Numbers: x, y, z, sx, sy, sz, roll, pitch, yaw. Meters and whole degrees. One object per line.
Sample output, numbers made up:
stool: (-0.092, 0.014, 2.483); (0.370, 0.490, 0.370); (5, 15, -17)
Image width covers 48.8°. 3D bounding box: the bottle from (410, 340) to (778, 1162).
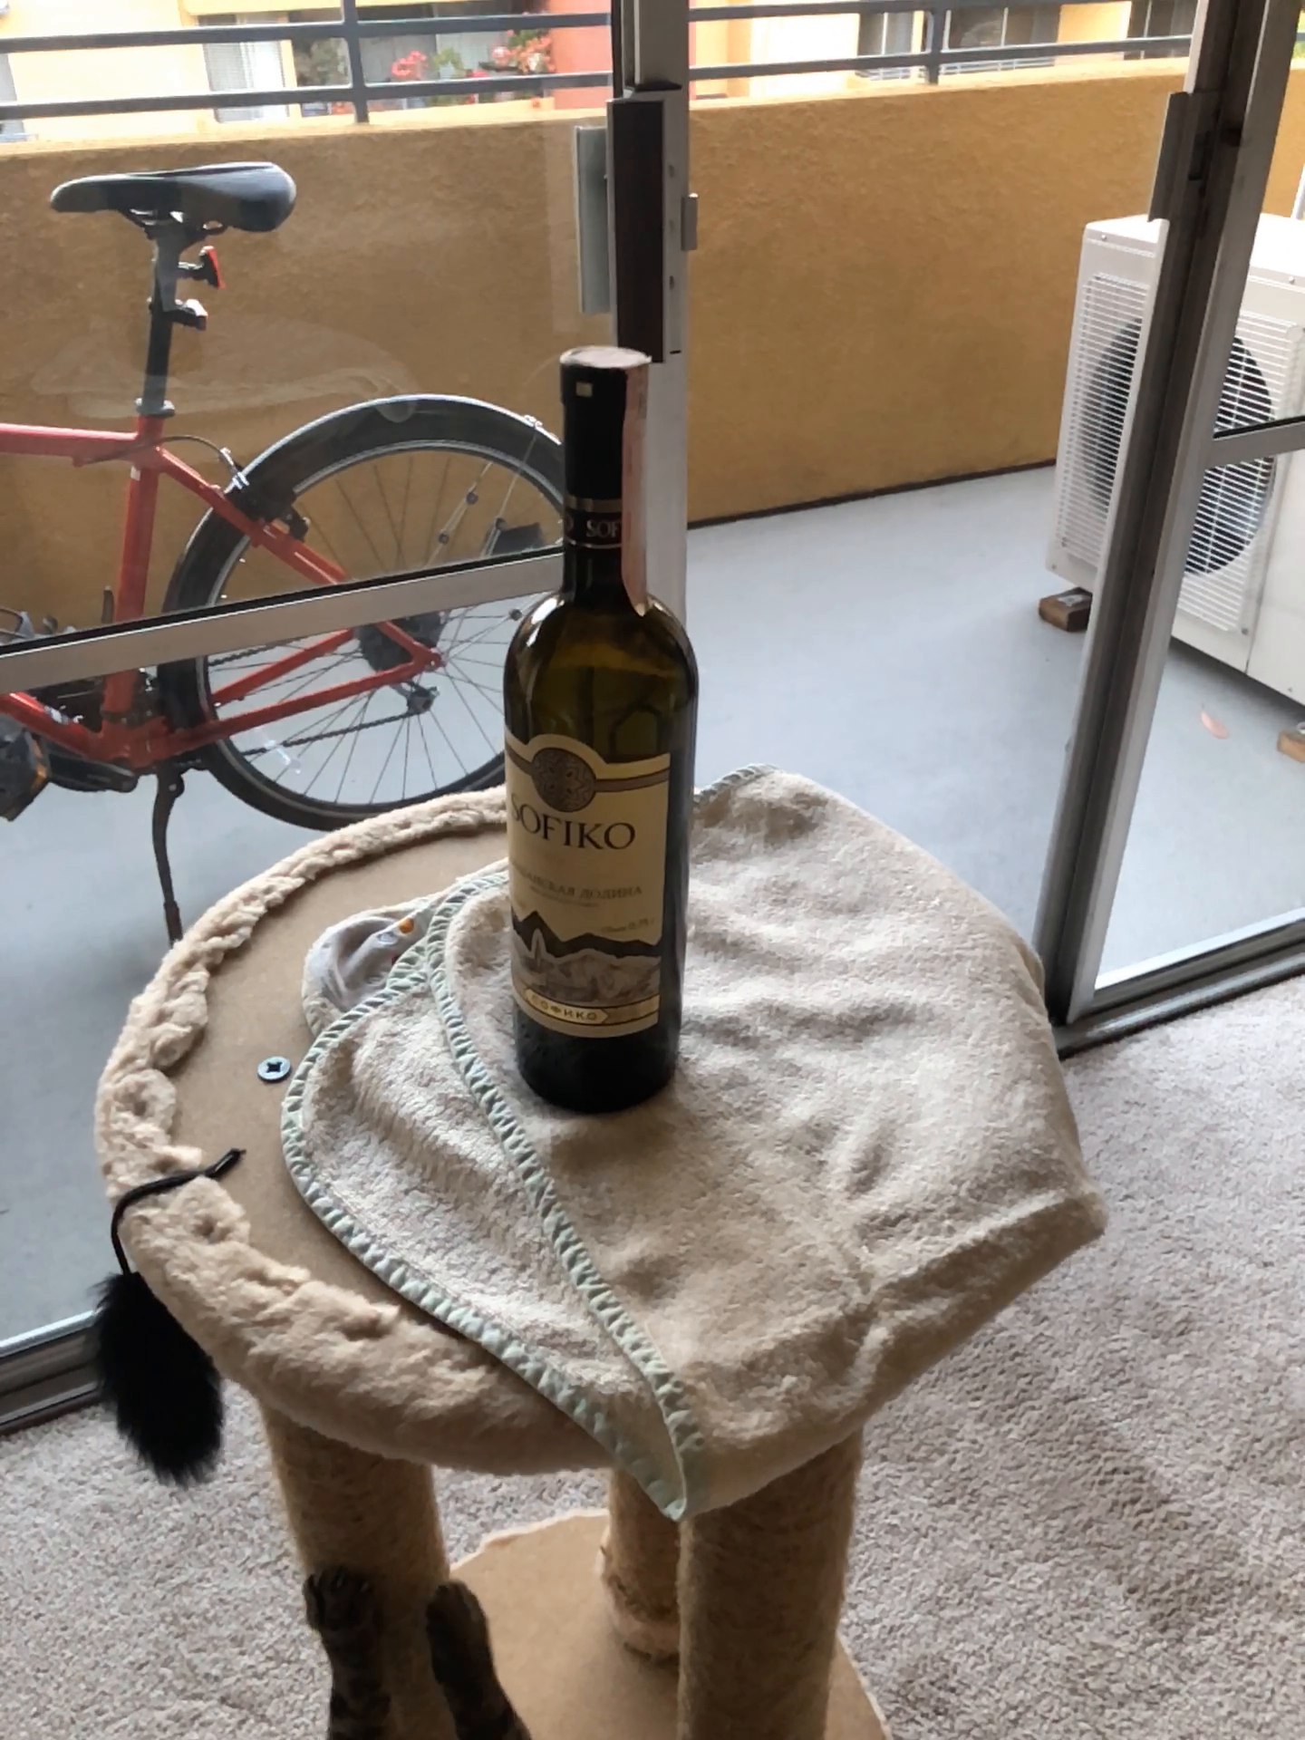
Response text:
bottle: (-0.015, -0.033, 0.505); (0.080, 0.269, 0.080); (0, 34, 0)
